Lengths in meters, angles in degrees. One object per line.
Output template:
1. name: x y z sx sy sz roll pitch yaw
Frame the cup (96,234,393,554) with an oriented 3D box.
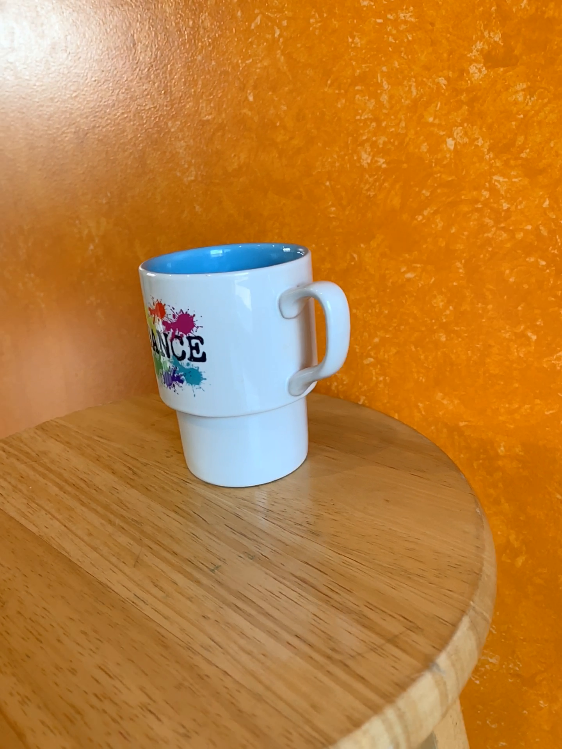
1. cup: -0.018 -0.004 0.286 0.080 0.109 0.120 -20 26 -36
